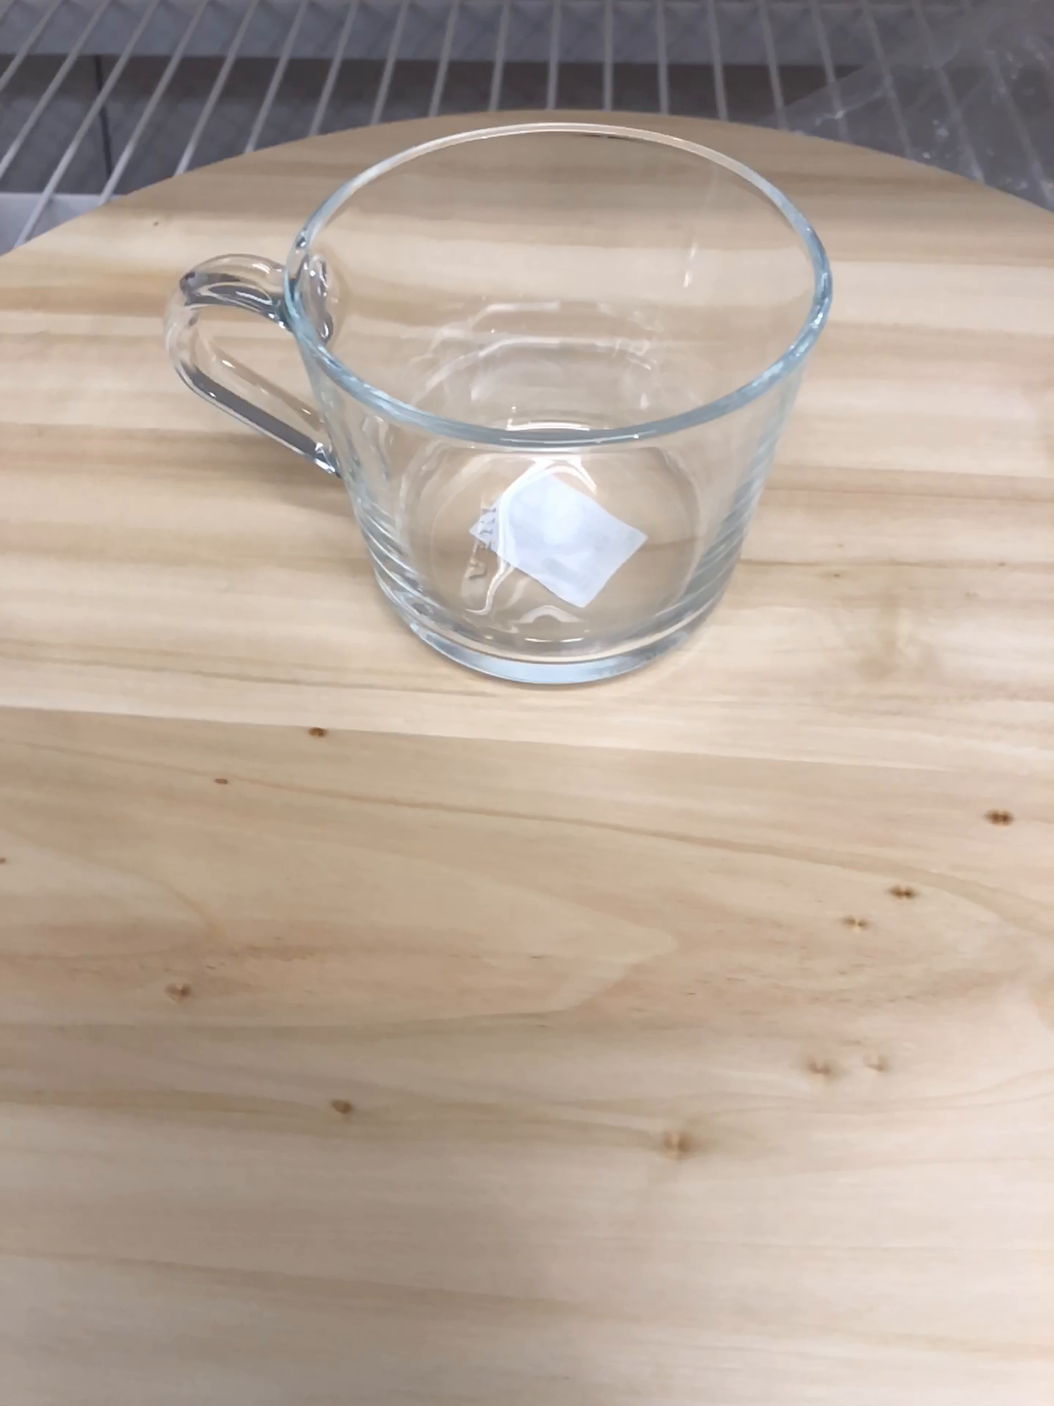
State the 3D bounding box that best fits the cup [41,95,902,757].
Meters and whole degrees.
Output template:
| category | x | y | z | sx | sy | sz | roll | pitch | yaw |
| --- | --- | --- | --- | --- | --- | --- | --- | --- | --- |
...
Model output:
| category | x | y | z | sx | sy | sz | roll | pitch | yaw |
| --- | --- | --- | --- | --- | --- | --- | --- | --- | --- |
| cup | -0.002 | -0.054 | 0.214 | 0.120 | 0.060 | 0.090 | 10 | 52 | 9 |
